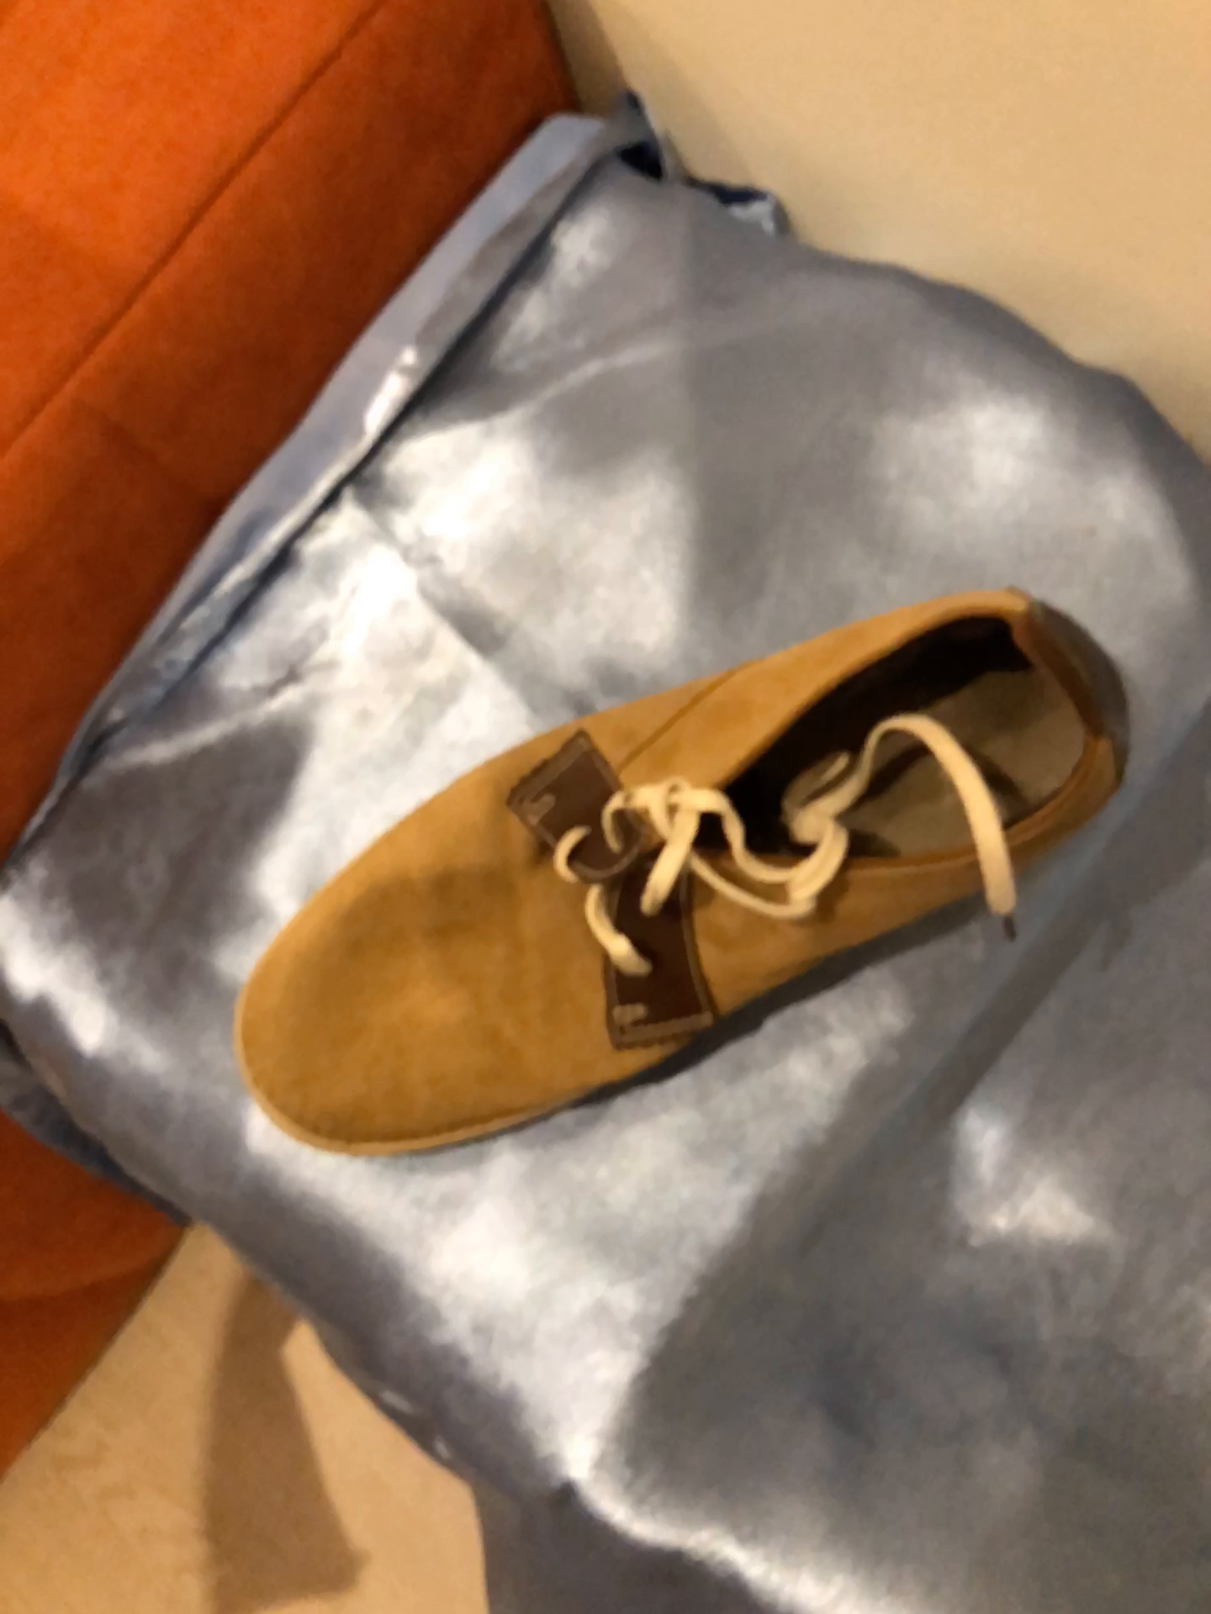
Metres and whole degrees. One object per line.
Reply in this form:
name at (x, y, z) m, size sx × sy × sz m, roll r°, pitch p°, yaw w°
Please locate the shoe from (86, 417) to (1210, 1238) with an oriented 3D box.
shoe at (0.014, 0.017, 0.435) m, size 0.300 × 0.120 × 0.120 m, roll -24°, pitch 75°, yaw 6°
